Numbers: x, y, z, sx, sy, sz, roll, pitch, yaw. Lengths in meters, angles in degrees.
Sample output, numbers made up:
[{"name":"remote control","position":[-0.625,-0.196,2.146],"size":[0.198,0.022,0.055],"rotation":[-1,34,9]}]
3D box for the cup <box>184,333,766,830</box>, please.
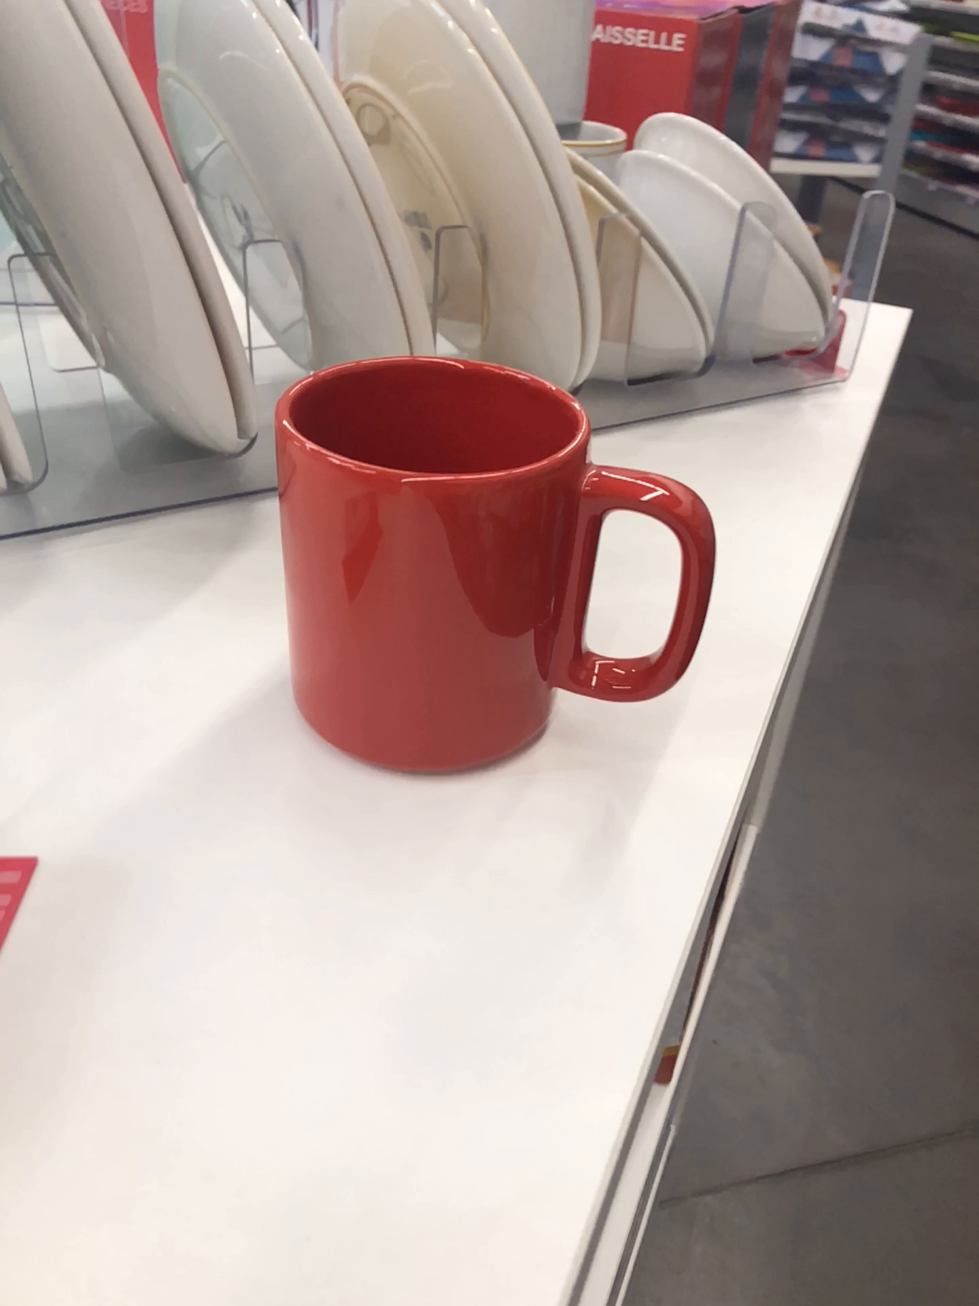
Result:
[{"name":"cup","position":[0.001,-0.026,0.299],"size":[0.129,0.082,0.092],"rotation":[11,34,10]}]
